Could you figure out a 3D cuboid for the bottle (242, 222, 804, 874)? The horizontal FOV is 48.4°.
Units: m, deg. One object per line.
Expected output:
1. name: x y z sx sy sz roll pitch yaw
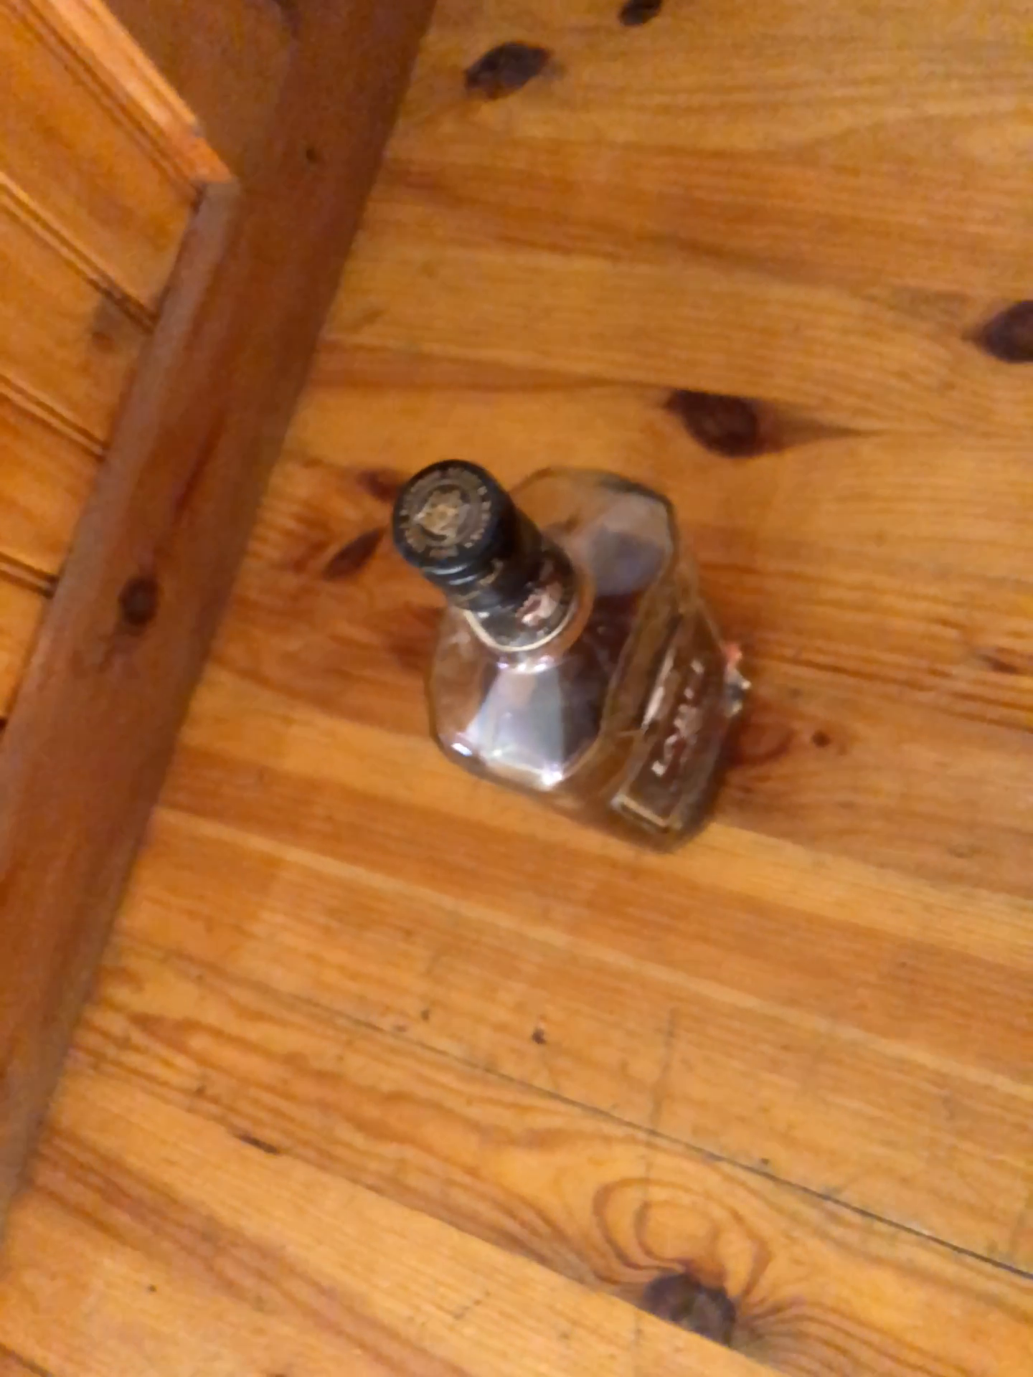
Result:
1. bottle: 0.034 -0.017 0.403 0.080 0.290 0.120 19 83 20
